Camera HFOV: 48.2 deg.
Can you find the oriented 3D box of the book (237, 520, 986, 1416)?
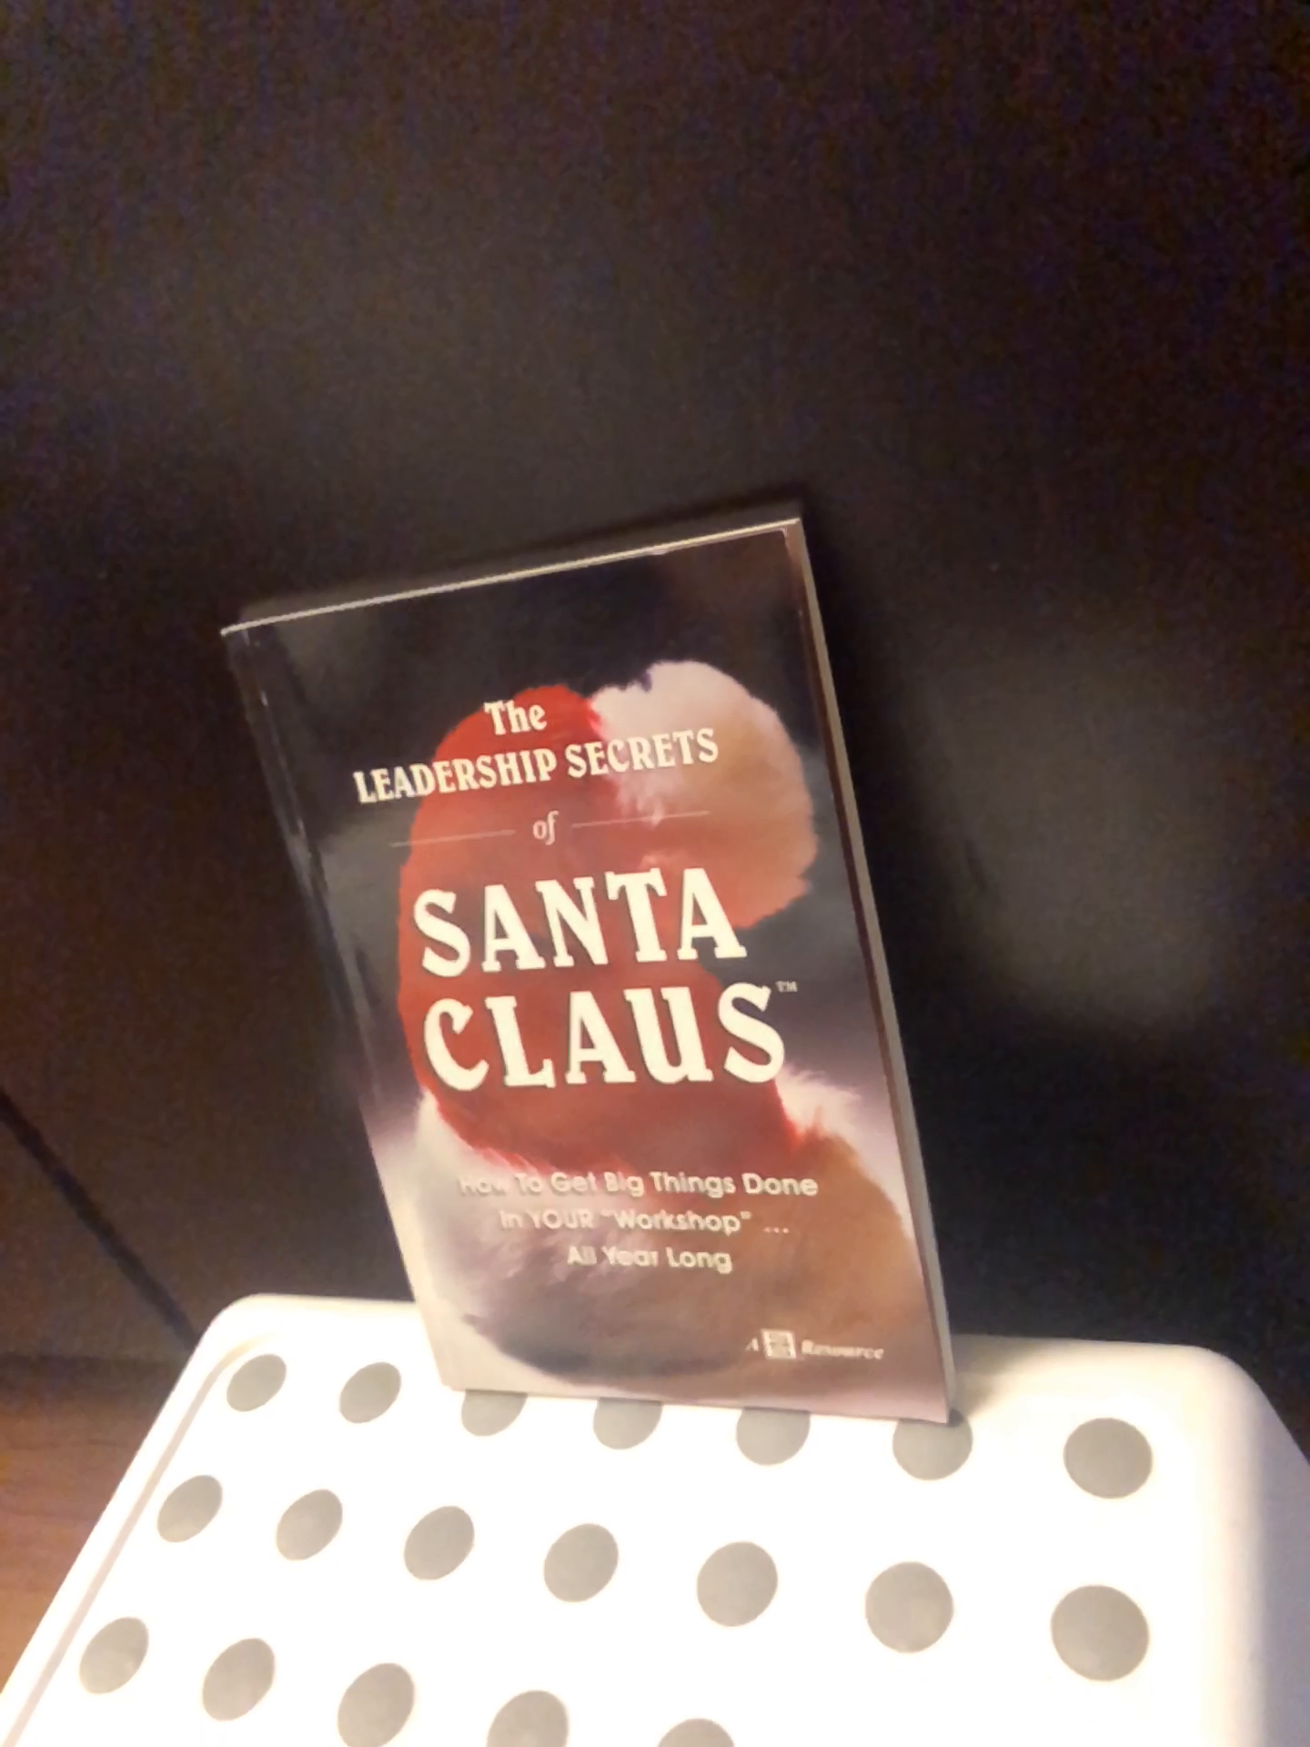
[{"bbox_3d":[-0.011,0.037,0.381,0.160,0.225,0.010,-6,15,23],"label":"book"}]
